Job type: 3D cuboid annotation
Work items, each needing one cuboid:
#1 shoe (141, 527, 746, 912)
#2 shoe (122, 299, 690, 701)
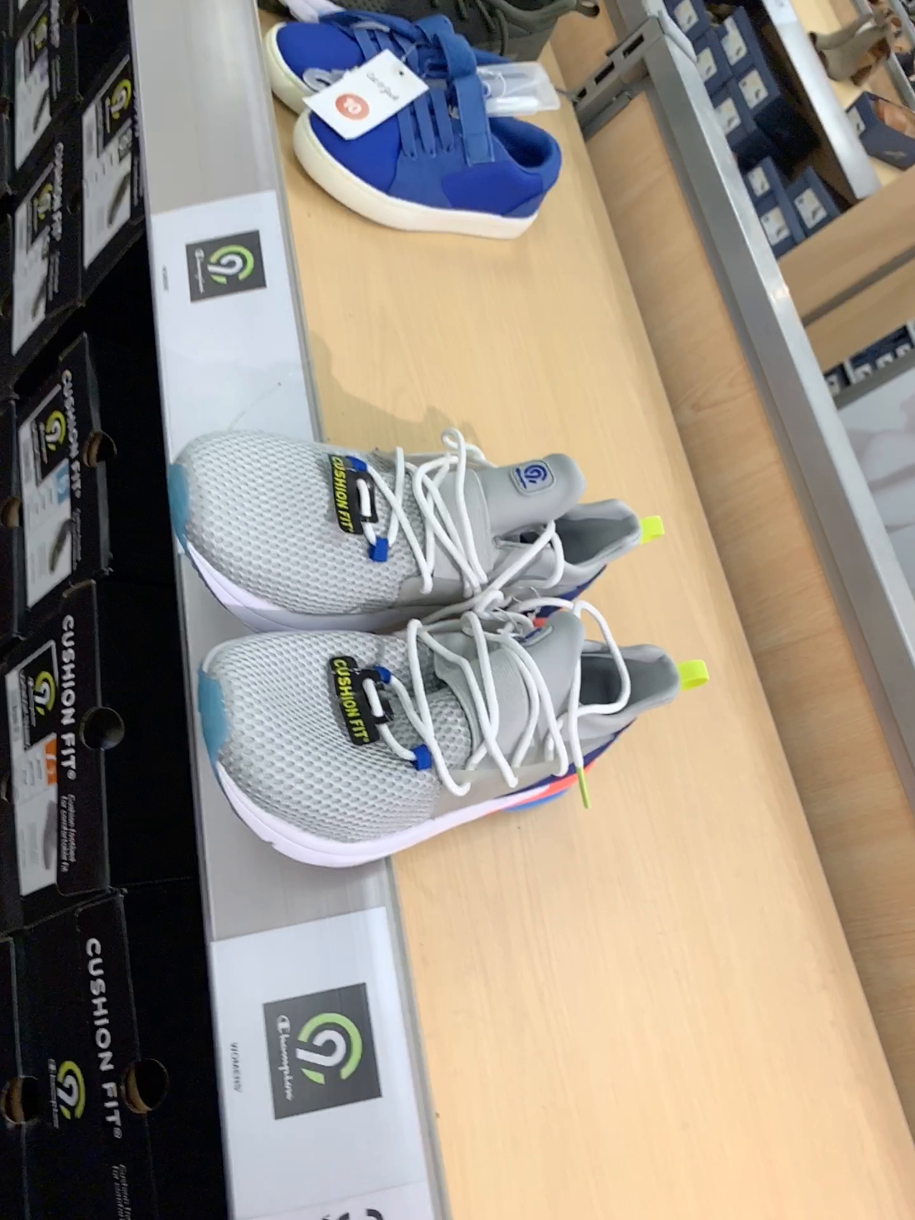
[{"bbox_3d":[0.012,0.045,0.429,0.271,0.090,0.110,3,64,-48],"label":"shoe"},{"bbox_3d":[-0.011,-0.032,0.461,0.271,0.090,0.110,11,59,-45],"label":"shoe"}]
